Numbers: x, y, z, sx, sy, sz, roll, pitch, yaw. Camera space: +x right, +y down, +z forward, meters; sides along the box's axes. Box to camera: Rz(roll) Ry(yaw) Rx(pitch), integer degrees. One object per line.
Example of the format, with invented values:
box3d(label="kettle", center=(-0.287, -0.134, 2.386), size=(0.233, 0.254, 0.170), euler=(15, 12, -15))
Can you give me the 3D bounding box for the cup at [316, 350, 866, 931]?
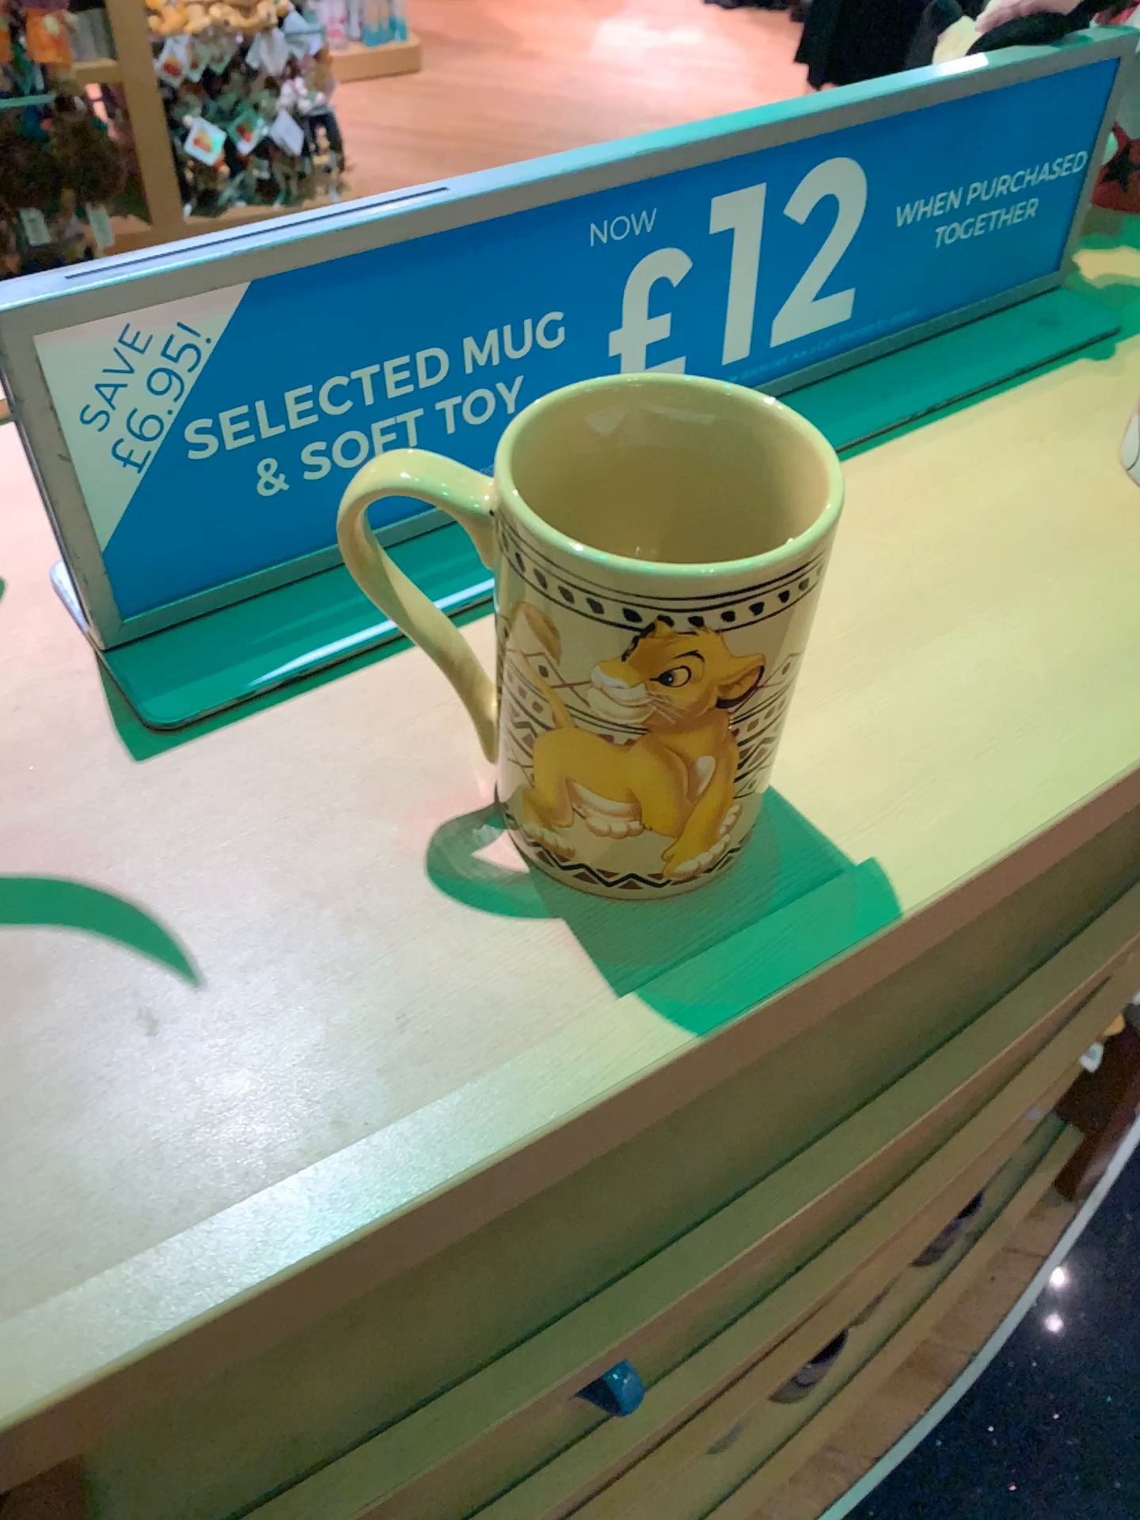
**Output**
box3d(label="cup", center=(0.004, -0.033, 0.330), size=(0.119, 0.121, 0.101), euler=(3, 43, 0))
